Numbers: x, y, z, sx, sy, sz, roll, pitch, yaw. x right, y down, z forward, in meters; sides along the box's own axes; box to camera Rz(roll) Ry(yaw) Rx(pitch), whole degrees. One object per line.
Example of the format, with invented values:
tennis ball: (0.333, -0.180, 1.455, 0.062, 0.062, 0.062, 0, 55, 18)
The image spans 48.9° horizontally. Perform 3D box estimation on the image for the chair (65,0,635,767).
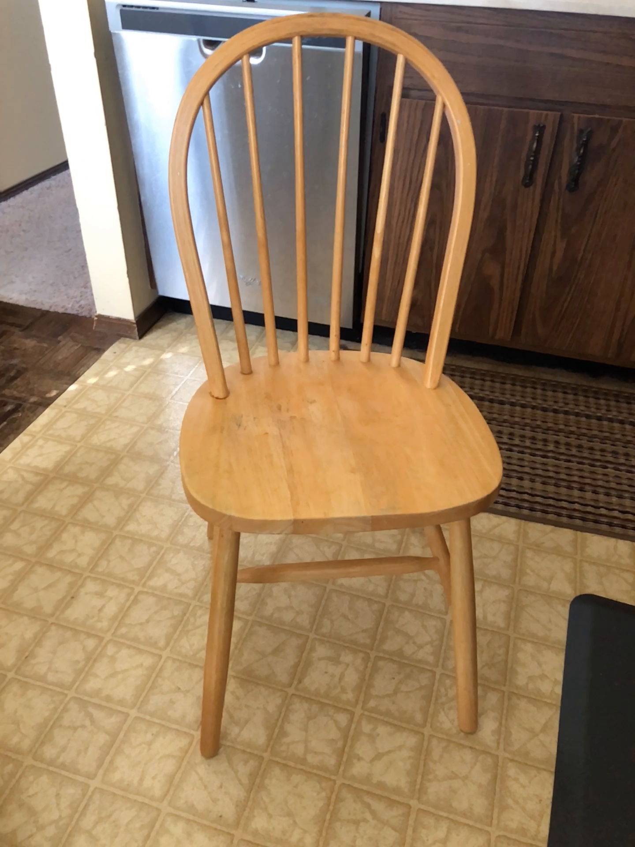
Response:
chair: (0.017, -0.049, 0.981, 0.460, 0.897, 0.562, -3, 36, -6)
